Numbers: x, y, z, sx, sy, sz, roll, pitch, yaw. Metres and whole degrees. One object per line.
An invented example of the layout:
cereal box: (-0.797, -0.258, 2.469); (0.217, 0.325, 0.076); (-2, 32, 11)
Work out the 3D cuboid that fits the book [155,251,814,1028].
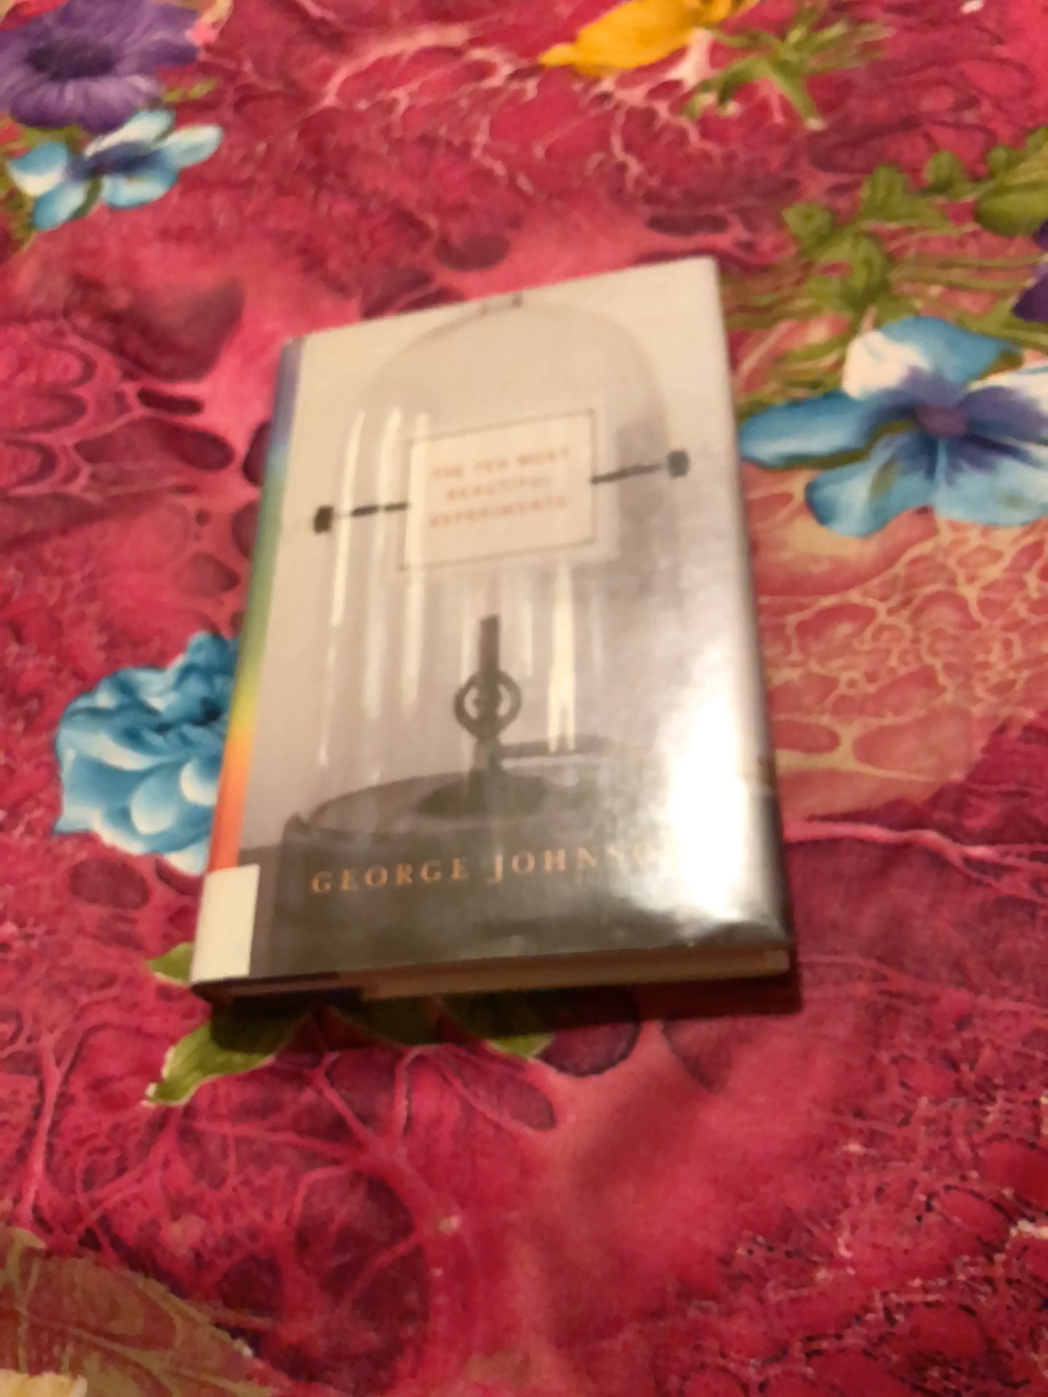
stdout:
book: (-0.009, -0.023, 0.308); (0.140, 0.030, 0.200); (-7, 58, 12)
